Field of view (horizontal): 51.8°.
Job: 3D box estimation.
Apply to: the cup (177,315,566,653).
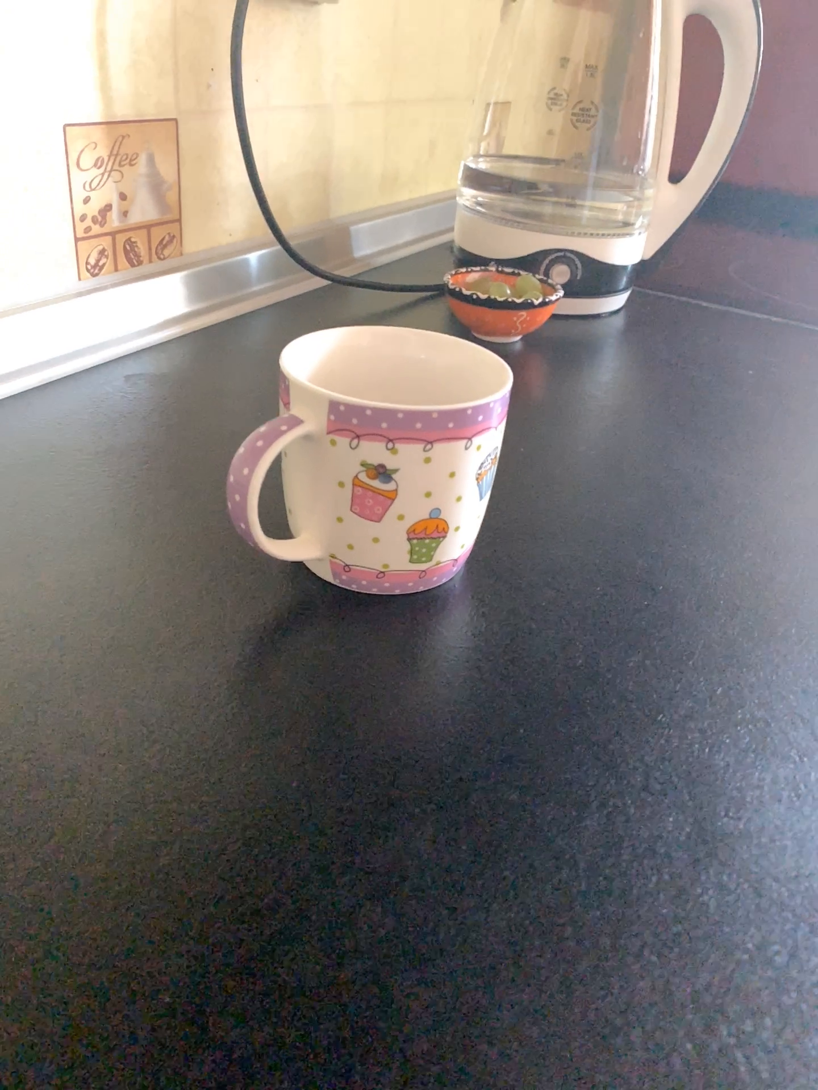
[{"bbox_3d":[-0.016,-0.030,0.314,0.110,0.080,0.080,-16,37,-33],"label":"cup"}]
